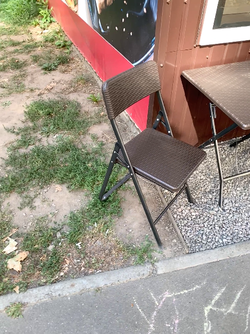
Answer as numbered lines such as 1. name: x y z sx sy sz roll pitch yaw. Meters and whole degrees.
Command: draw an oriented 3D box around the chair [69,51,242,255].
1. chair: 0.127 -0.070 1.193 0.471 0.687 0.471 27 49 27
